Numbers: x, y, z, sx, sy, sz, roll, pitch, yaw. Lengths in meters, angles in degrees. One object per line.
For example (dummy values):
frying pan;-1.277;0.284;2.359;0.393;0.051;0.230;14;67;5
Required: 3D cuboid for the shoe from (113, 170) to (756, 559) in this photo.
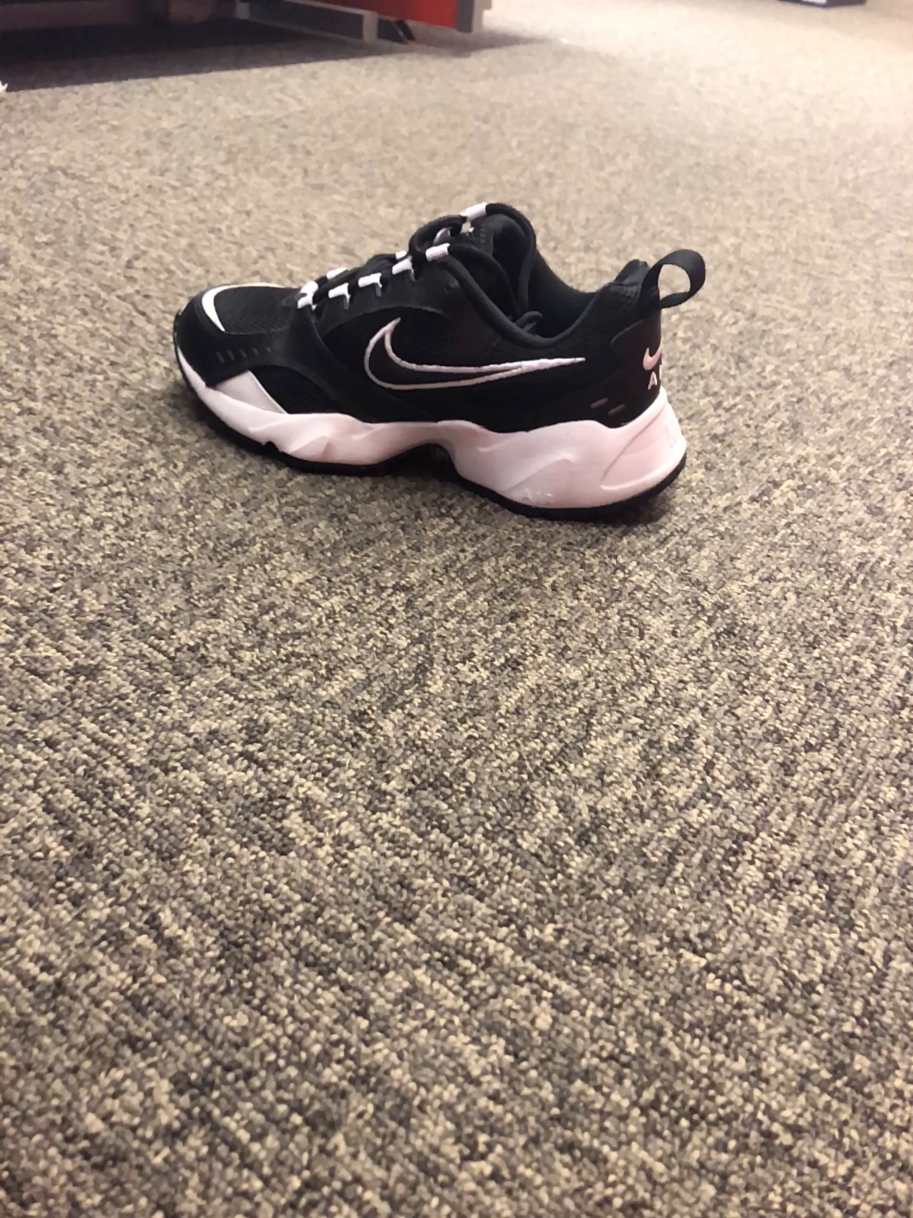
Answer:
shoe;-0.009;-0.122;0.470;0.260;0.109;0.105;13;37;15
